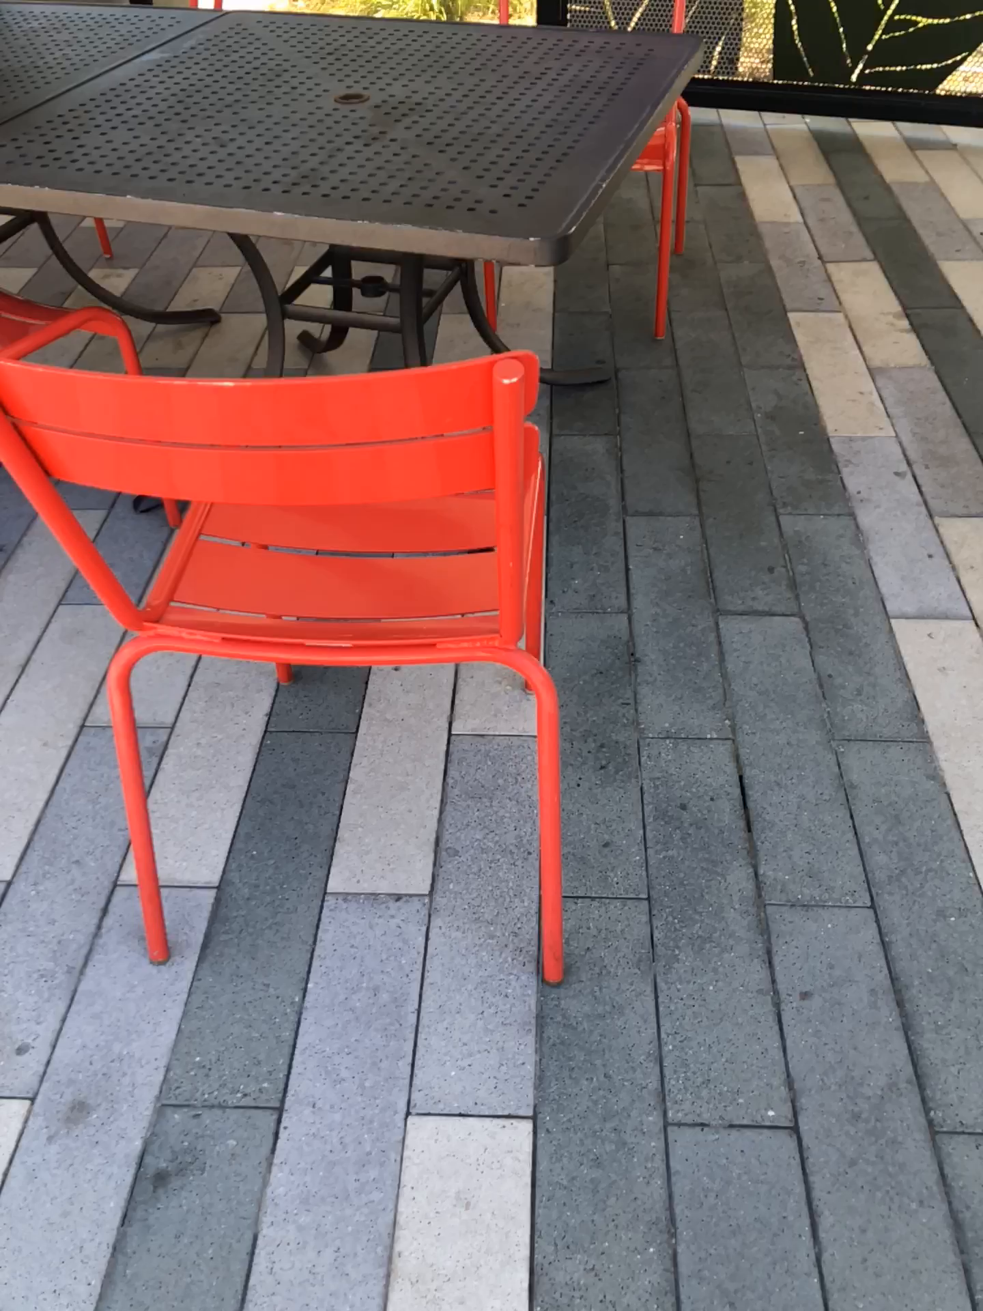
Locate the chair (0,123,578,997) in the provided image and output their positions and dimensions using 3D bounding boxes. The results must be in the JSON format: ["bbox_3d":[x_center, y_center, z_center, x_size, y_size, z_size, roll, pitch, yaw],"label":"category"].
[{"bbox_3d":[-0.201,-0.097,1.438,0.610,0.955,0.633,1,42,4],"label":"chair"}]
